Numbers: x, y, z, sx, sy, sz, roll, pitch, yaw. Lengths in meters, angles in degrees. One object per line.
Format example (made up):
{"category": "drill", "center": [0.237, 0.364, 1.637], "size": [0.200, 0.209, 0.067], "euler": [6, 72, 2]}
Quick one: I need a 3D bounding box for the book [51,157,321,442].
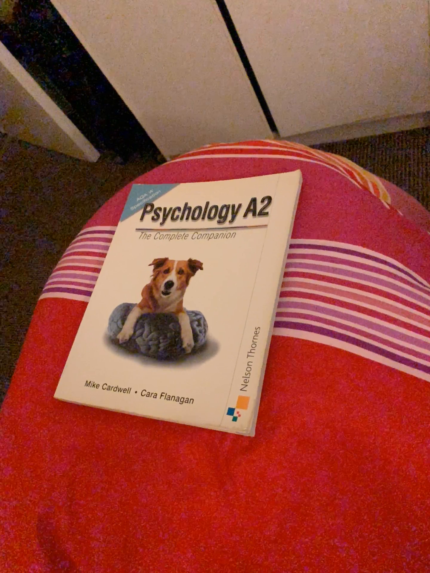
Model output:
{"category": "book", "center": [-0.026, -0.003, 0.486], "size": [0.241, 0.040, 0.291], "euler": [0, 61, 28]}
